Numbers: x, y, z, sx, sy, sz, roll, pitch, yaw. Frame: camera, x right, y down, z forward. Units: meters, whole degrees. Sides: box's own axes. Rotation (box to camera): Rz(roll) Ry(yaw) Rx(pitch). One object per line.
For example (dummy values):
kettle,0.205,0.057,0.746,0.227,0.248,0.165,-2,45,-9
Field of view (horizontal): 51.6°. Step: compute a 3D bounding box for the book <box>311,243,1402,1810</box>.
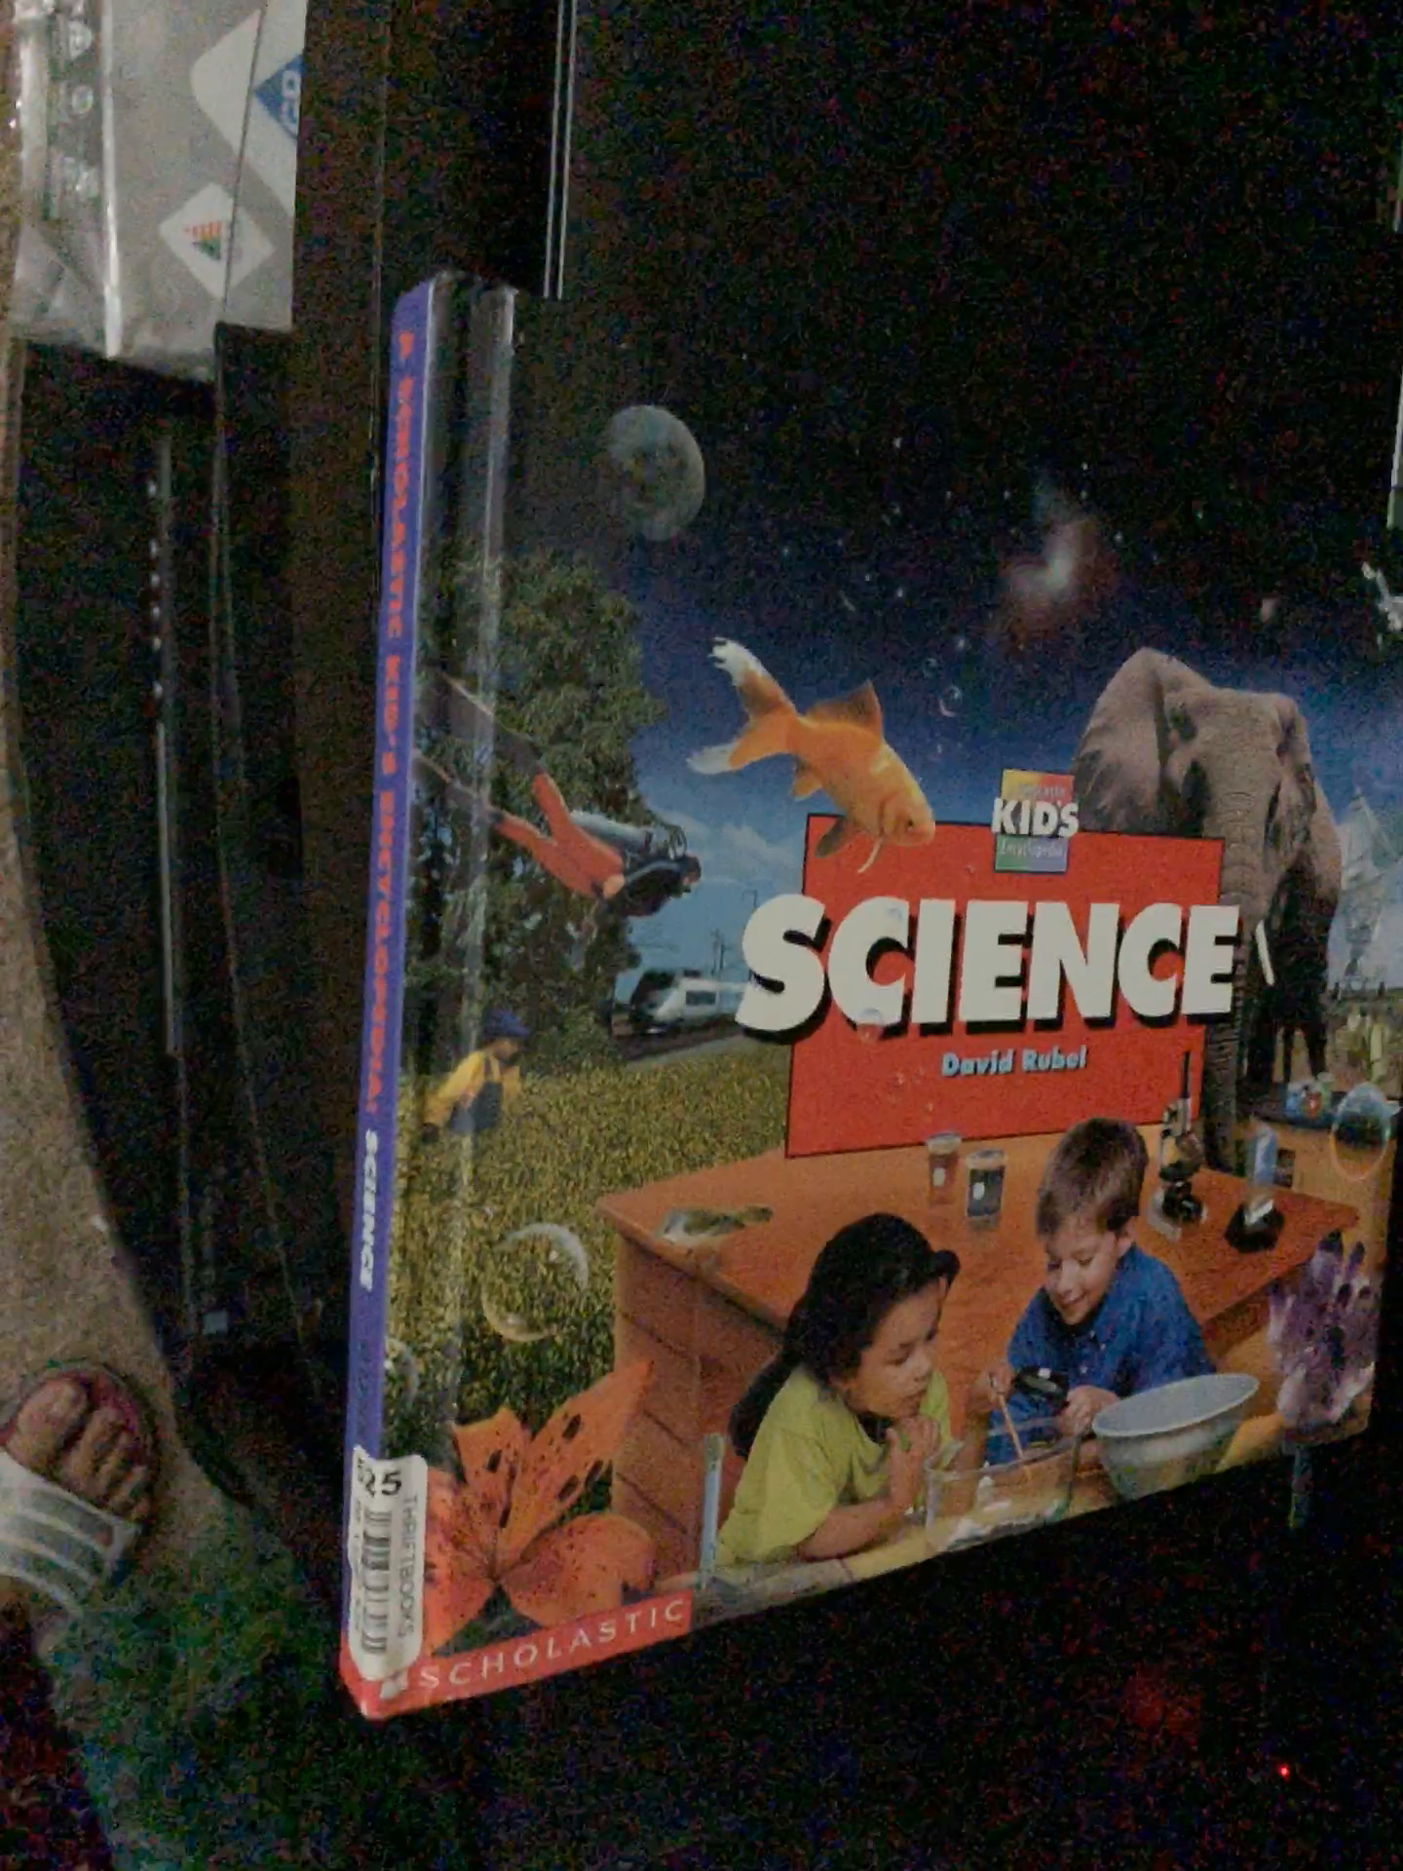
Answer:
book,0.066,0.020,0.307,0.281,0.030,0.240,1,96,-32
